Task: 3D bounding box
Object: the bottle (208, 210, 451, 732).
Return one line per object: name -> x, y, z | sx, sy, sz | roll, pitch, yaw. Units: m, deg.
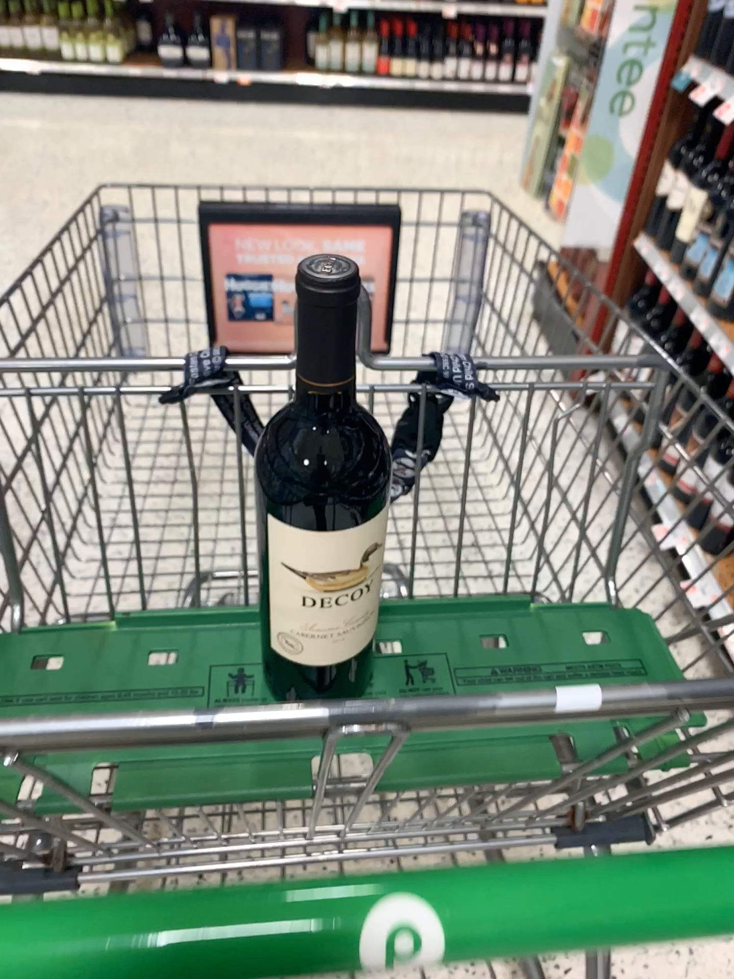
bottle -> -0.028, 0.006, 0.442 | 0.090, 0.297, 0.091 | 2, 39, -2
